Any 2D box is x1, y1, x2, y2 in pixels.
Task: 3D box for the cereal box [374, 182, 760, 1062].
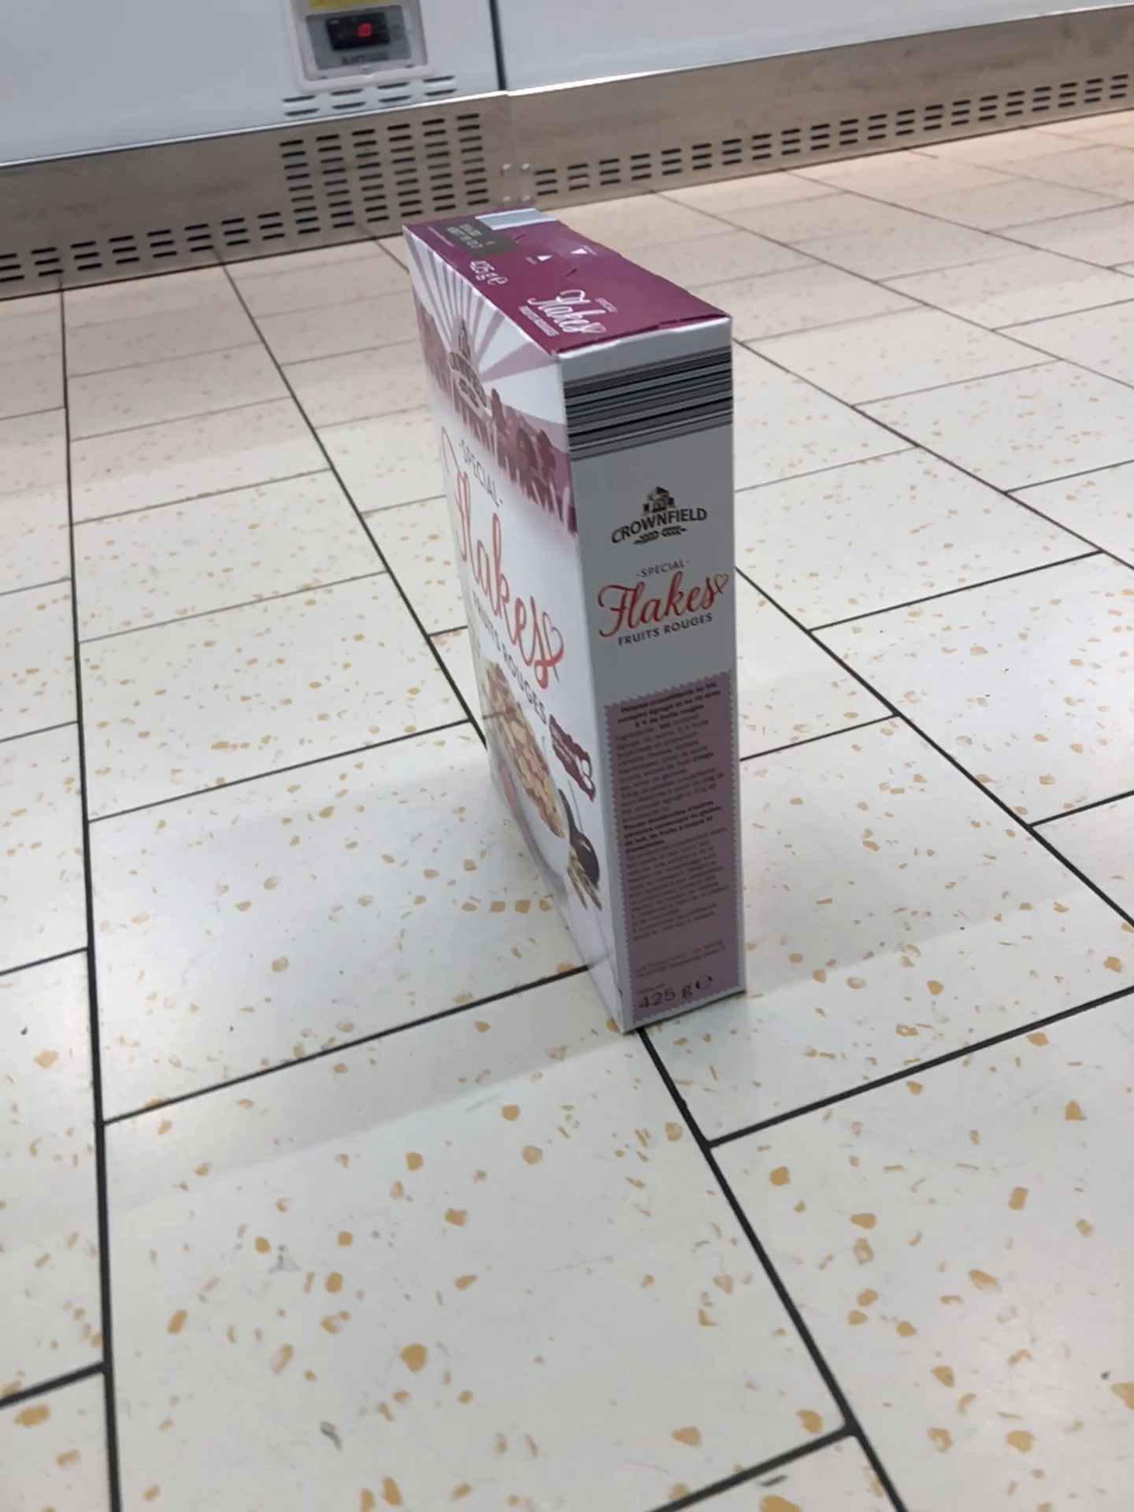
[{"bbox_3d":[0.000,-0.055,0.465,0.060,0.258,0.201,-15,35,-12],"label":"cereal box"}]
